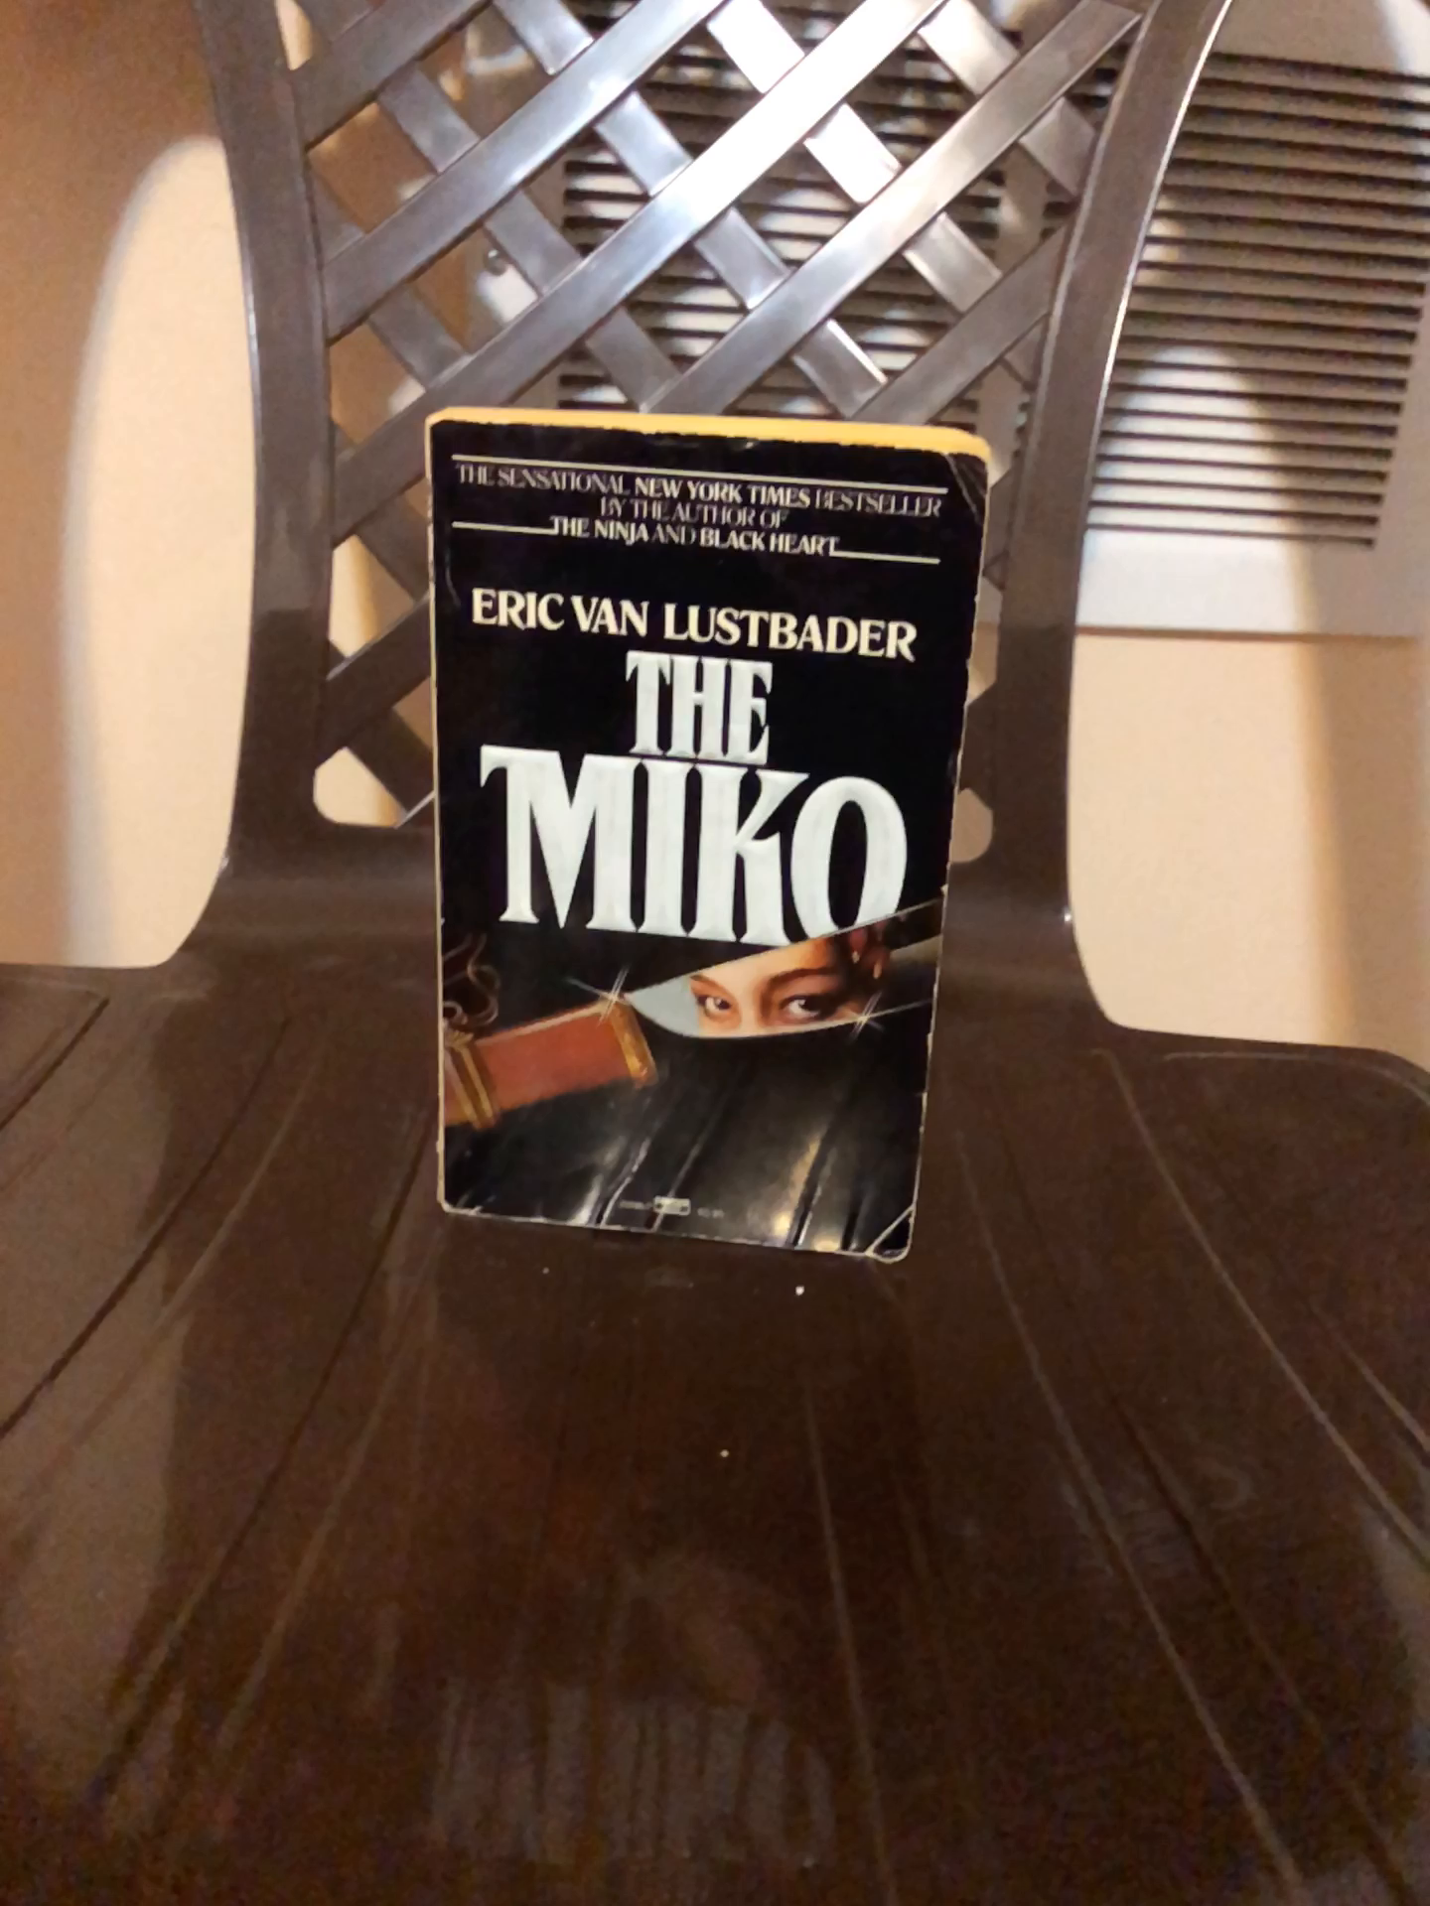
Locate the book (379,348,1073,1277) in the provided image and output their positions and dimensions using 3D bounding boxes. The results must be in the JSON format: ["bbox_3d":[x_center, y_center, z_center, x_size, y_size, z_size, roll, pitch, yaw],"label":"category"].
[{"bbox_3d":[-0.002,-0.027,0.321,0.120,0.169,0.040,5,17,3],"label":"book"}]
